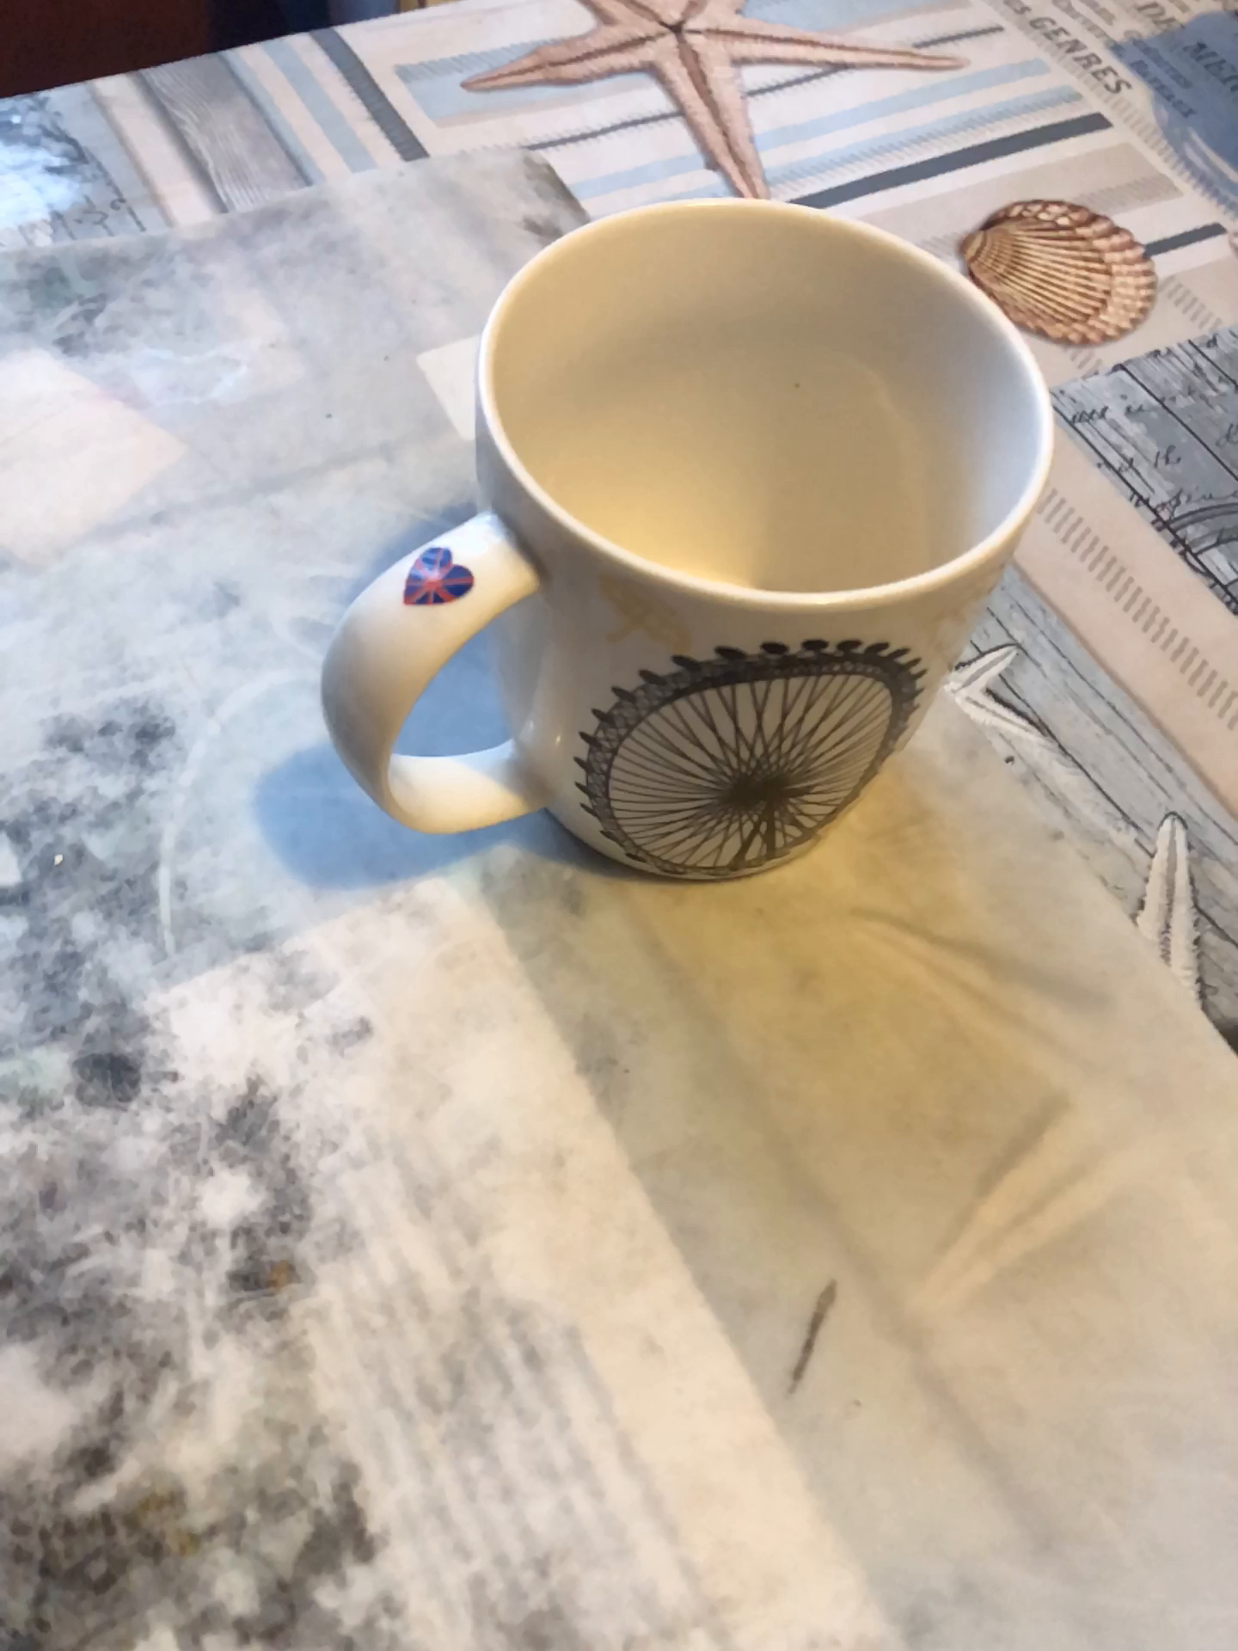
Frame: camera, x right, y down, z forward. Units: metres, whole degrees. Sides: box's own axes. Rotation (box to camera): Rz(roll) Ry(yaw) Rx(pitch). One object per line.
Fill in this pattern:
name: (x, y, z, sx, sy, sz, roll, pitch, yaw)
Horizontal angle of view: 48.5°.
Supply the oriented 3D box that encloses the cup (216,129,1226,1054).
cup: (0.013, -0.042, 0.235, 0.121, 0.086, 0.084, -27, 61, -21)
